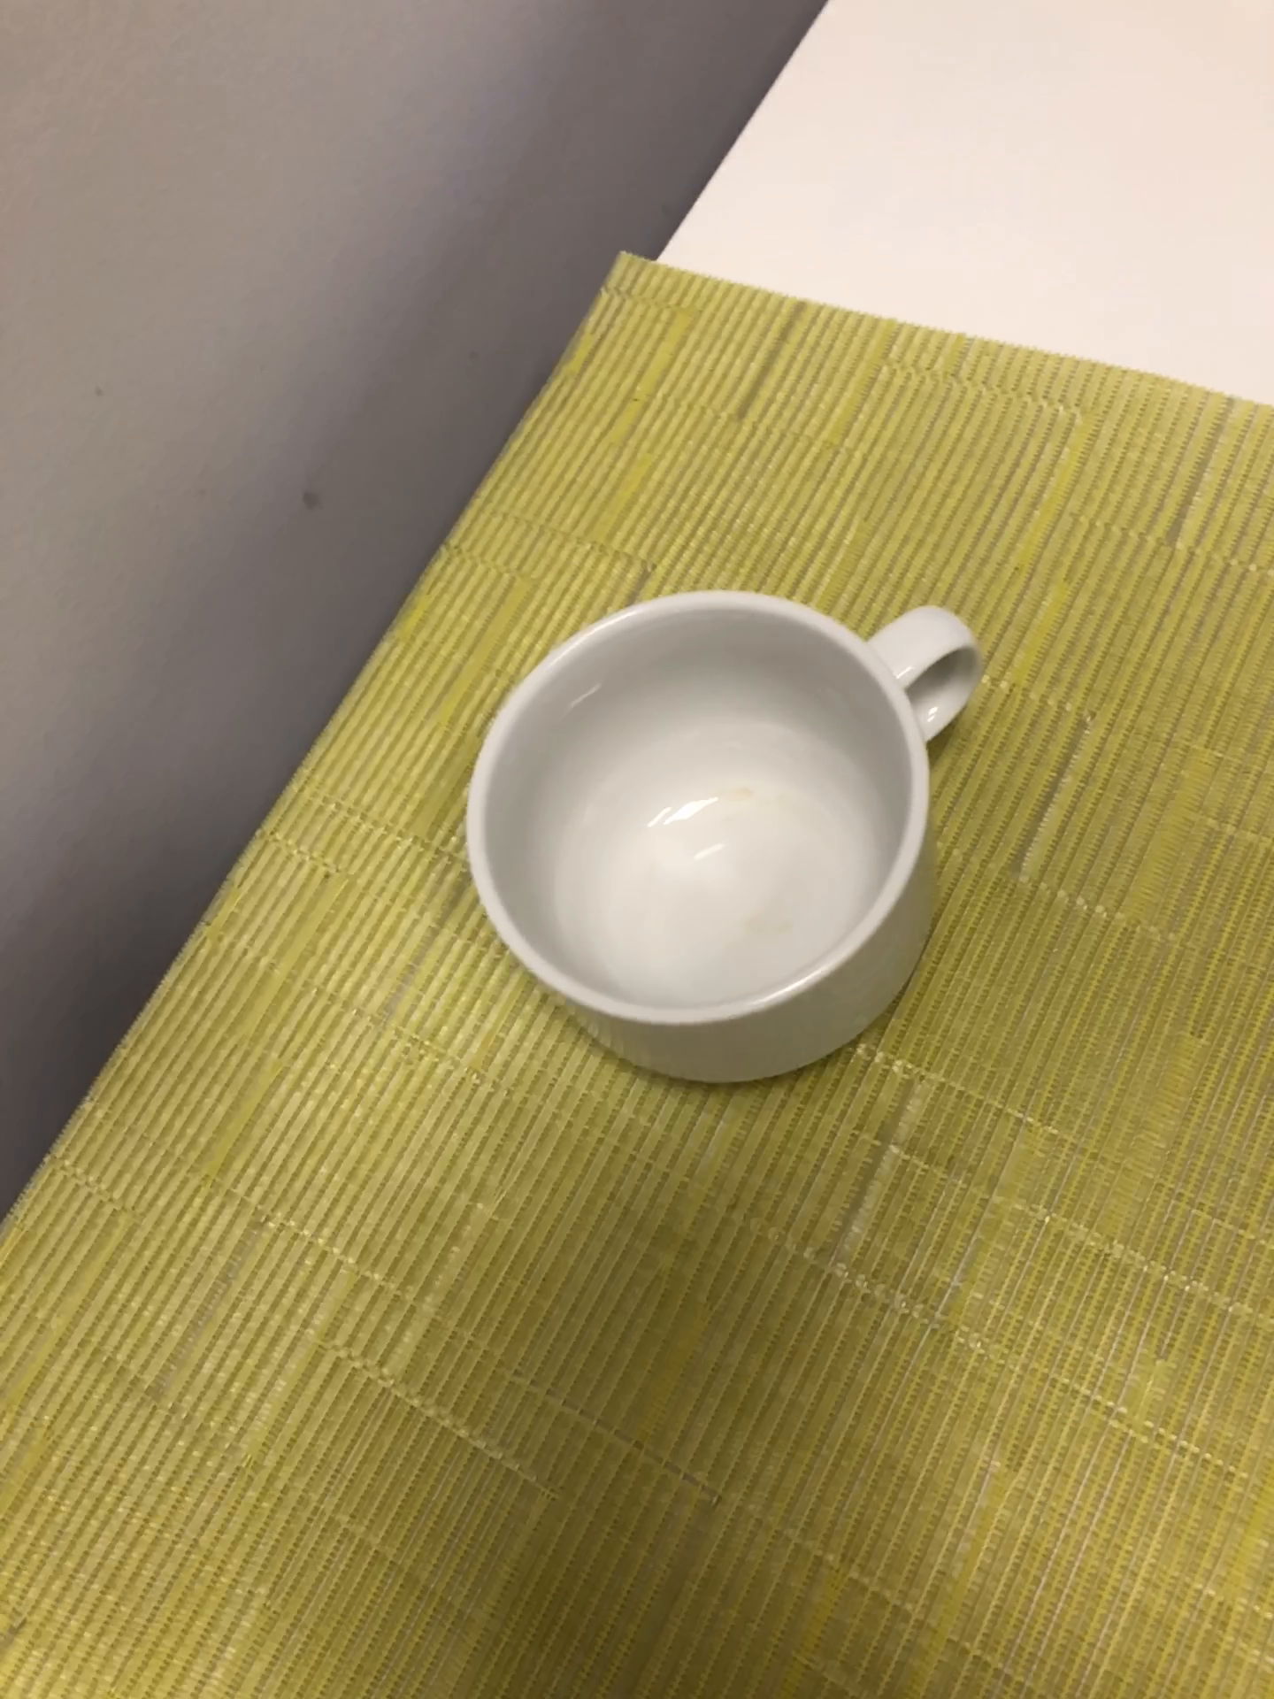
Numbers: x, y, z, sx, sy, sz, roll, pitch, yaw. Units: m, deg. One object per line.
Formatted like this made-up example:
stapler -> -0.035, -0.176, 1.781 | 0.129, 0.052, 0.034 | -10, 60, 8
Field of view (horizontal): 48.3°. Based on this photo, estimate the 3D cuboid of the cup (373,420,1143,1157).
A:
cup -> 0.022, -0.010, 0.276 | 0.110, 0.057, 0.086 | -28, 62, 1
